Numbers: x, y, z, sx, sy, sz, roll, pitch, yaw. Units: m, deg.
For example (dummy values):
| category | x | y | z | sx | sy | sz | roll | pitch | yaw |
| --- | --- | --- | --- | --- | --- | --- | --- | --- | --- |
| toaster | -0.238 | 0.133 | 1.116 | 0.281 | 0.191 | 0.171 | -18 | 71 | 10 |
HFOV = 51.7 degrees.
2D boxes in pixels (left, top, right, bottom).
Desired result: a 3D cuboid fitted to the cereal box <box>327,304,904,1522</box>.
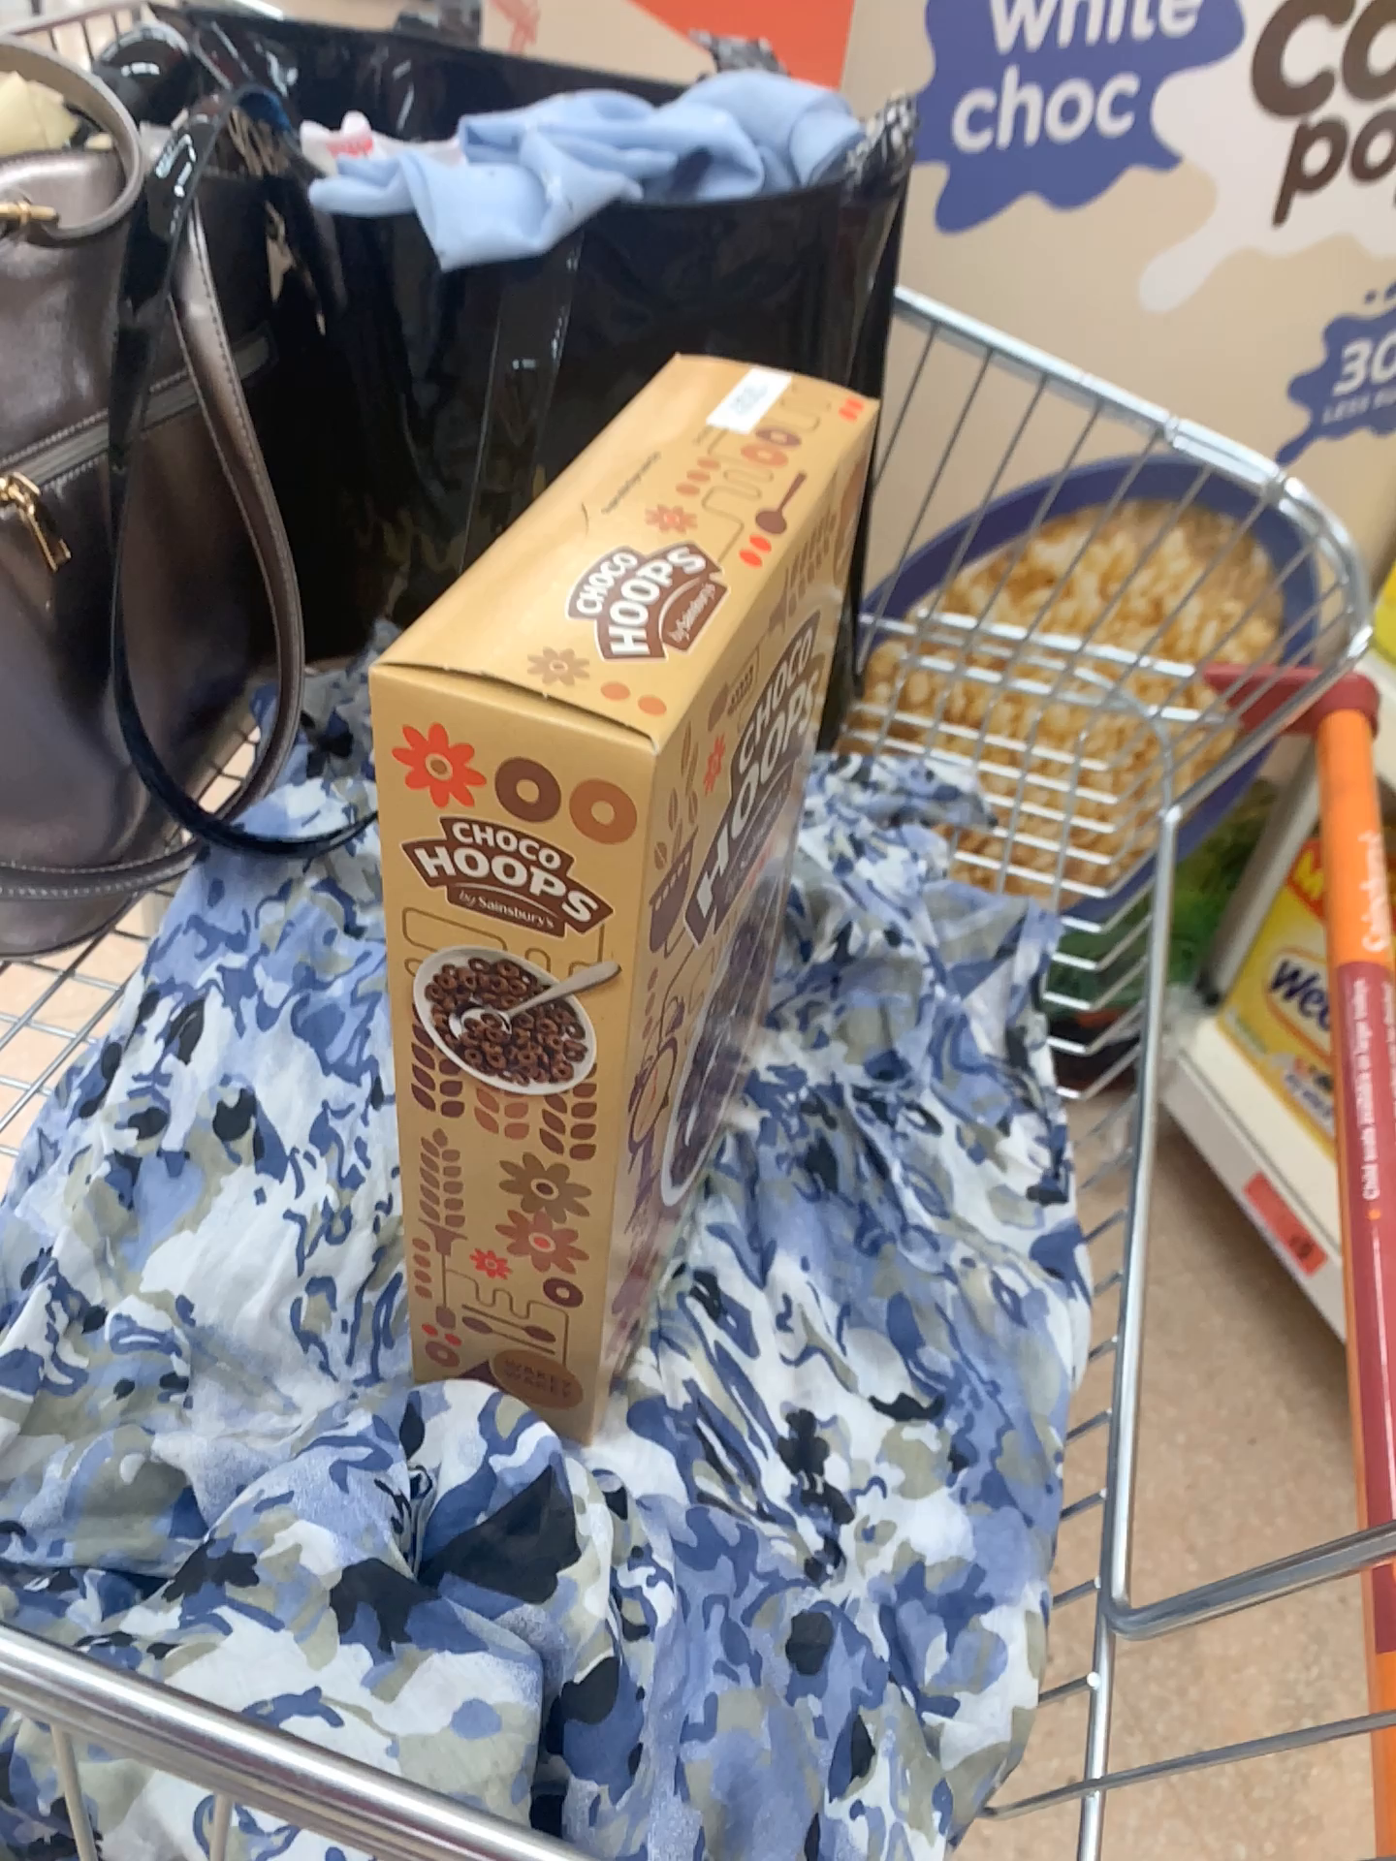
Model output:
| category | x | y | z | sx | sy | sz | roll | pitch | yaw |
| --- | --- | --- | --- | --- | --- | --- | --- | --- | --- |
| cereal box | -0.020 | -0.003 | 0.446 | 0.070 | 0.297 | 0.222 | 16 | 41 | 9 |
